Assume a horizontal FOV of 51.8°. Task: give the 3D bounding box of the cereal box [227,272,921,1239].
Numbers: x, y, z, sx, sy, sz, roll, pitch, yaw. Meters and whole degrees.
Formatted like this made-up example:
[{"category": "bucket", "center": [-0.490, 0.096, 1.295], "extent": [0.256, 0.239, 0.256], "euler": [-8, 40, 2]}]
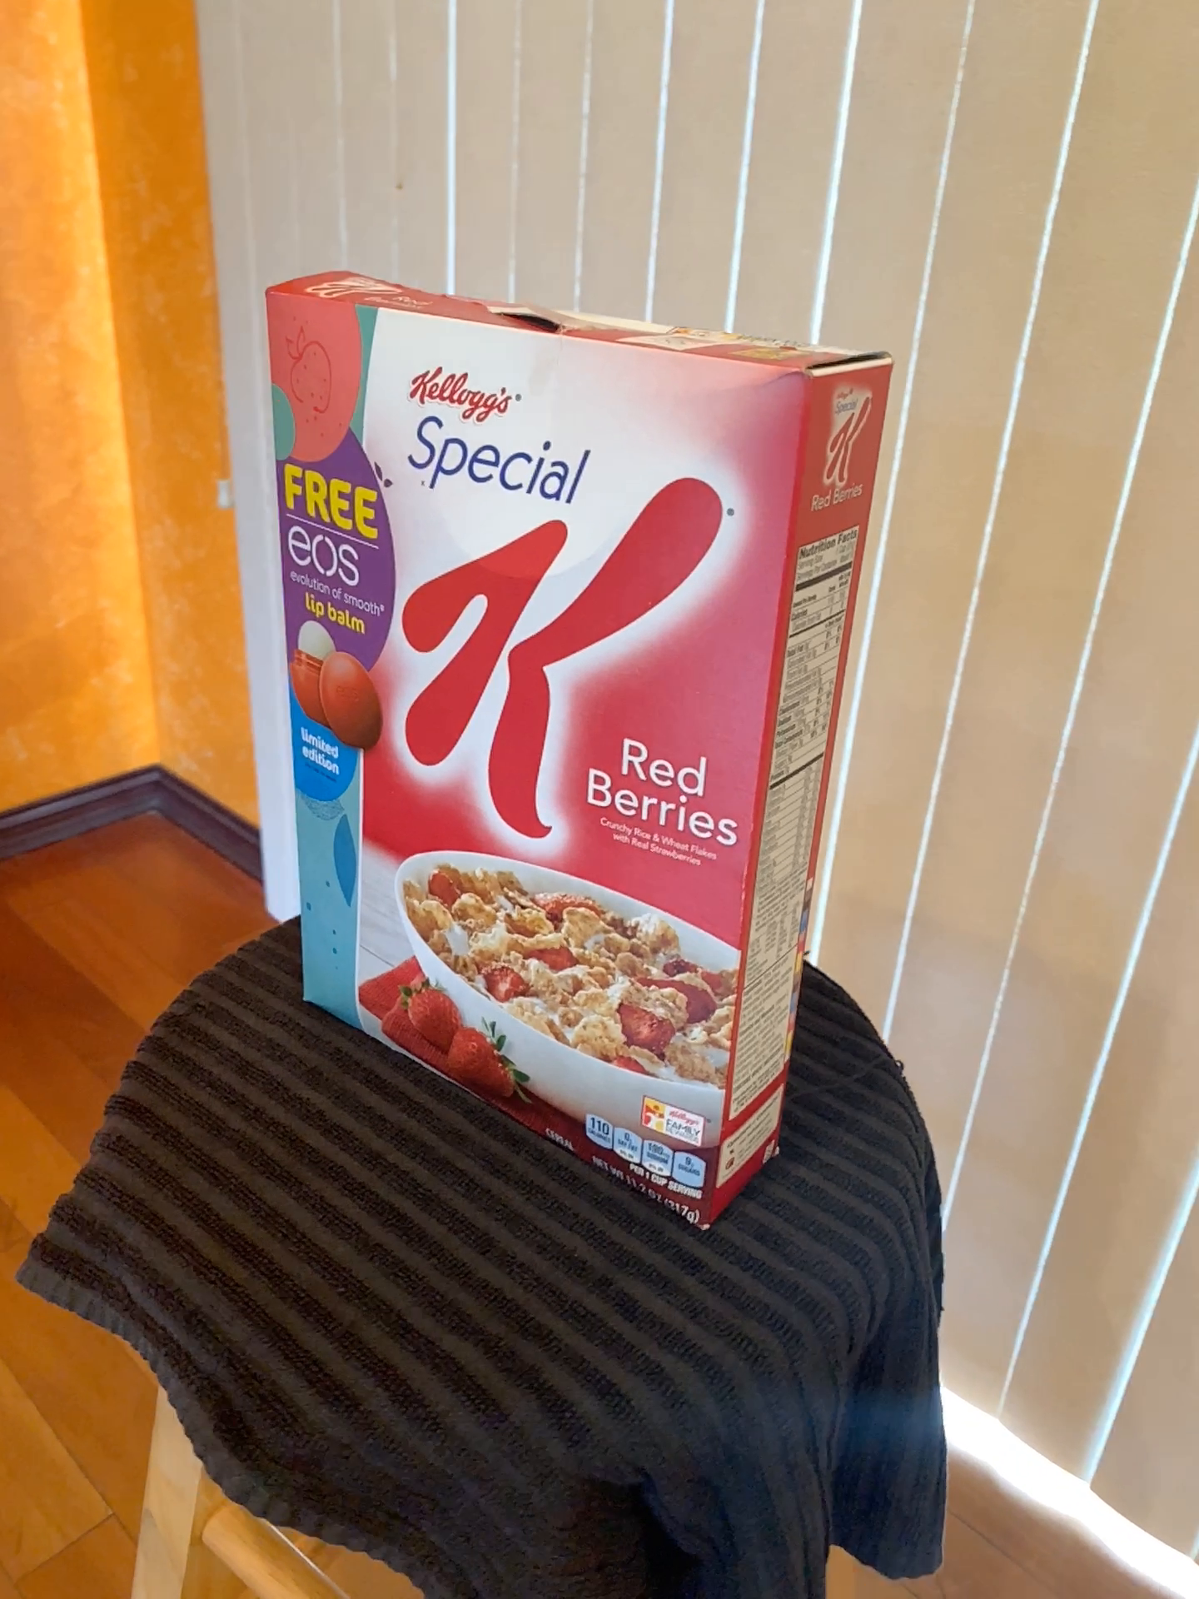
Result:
[{"category": "cereal box", "center": [-0.025, -0.019, 0.411], "extent": [0.211, 0.269, 0.050], "euler": [21, 31, 31]}]
